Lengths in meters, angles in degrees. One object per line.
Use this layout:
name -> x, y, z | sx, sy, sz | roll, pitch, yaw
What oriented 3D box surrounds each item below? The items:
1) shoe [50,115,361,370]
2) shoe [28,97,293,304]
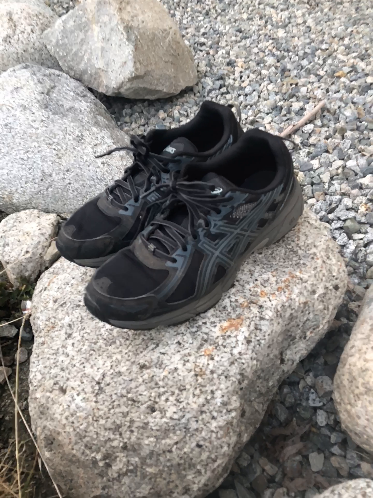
shoe -> 0.030, -0.026, 0.428 | 0.291, 0.099, 0.121 | -30, 51, -25
shoe -> -0.019, -0.073, 0.494 | 0.280, 0.099, 0.121 | -30, 51, -25
